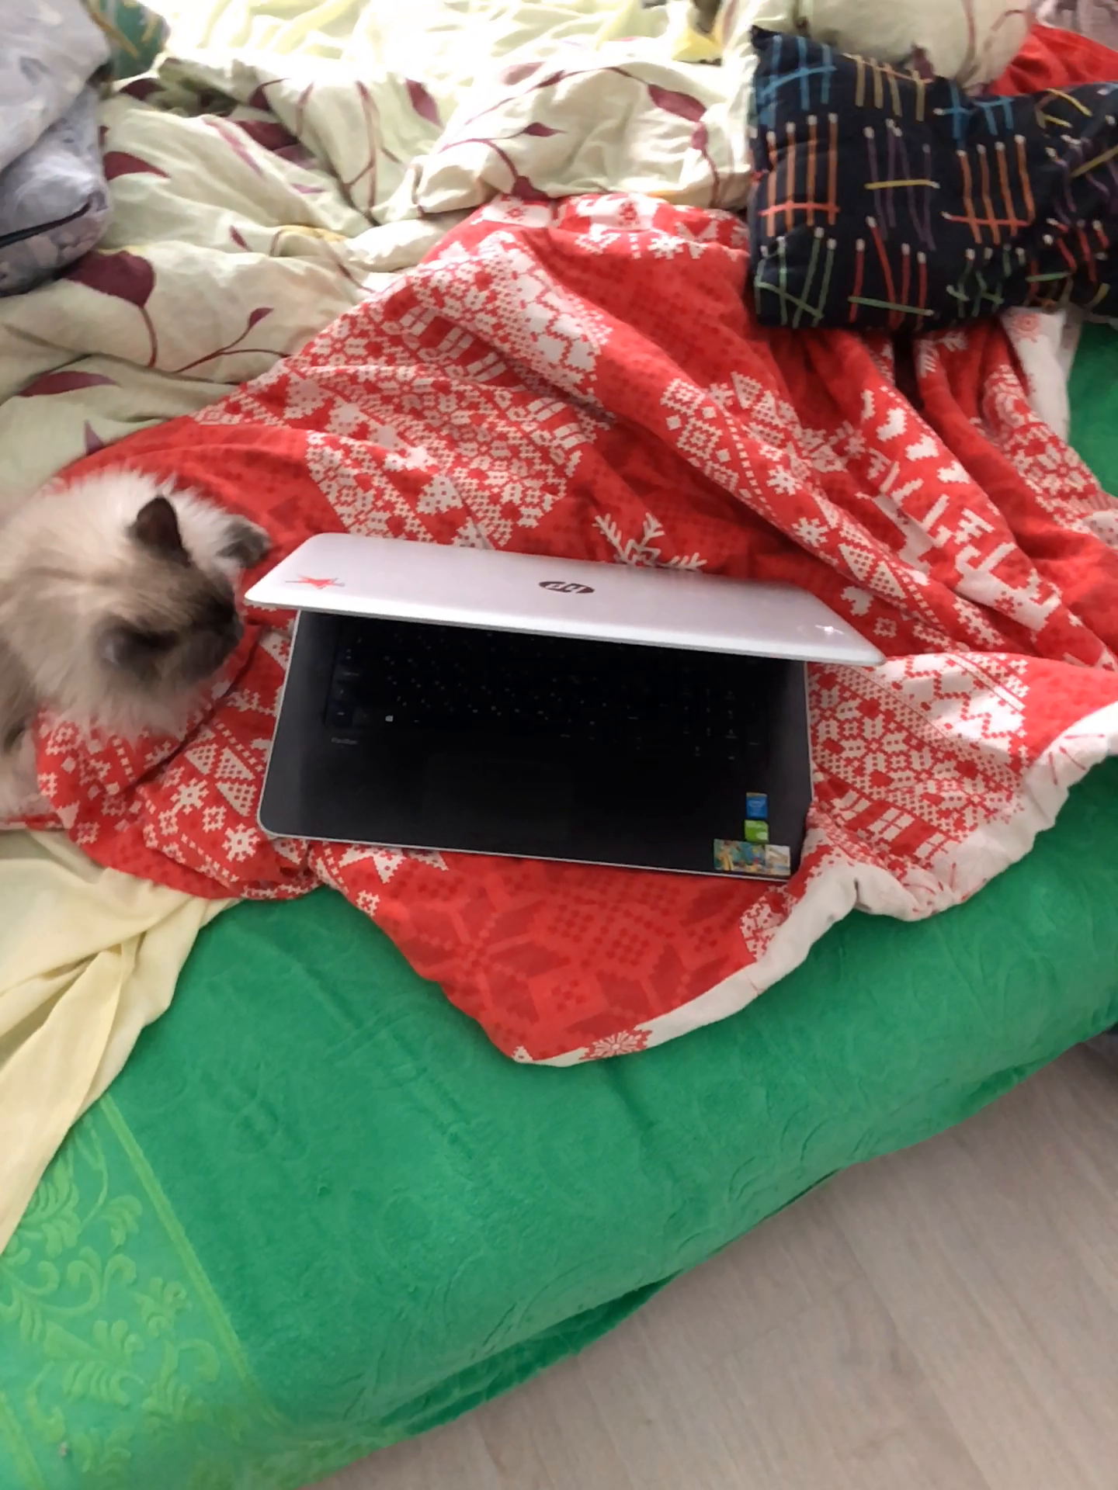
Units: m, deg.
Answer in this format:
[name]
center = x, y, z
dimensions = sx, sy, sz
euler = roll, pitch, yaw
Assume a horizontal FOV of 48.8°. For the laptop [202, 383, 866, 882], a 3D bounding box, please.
[laptop]
center = -0.004, -0.080, 0.909
dimensions = 0.413, 0.176, 0.277
euler = 5, 60, -2
